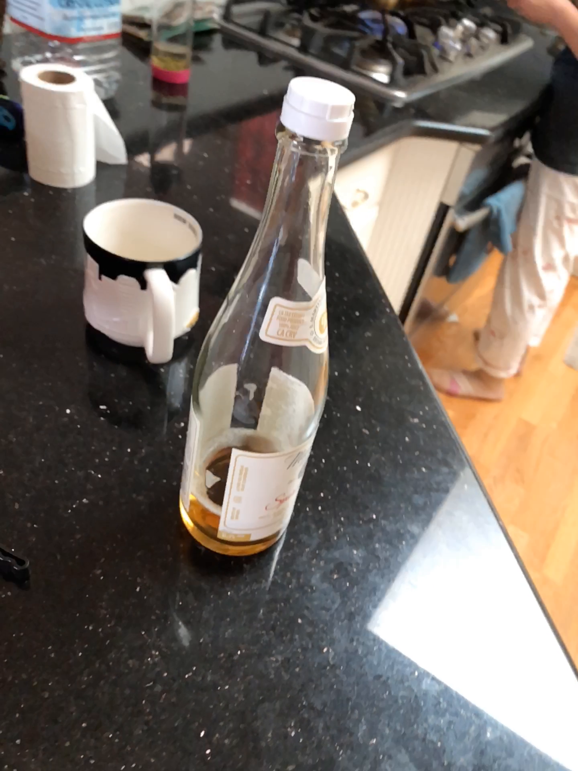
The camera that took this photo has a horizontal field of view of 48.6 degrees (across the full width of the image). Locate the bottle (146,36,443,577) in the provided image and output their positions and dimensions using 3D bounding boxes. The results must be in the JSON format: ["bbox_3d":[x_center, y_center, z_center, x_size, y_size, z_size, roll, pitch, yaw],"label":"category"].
[{"bbox_3d":[-0.012,-0.022,0.369,0.098,0.288,0.094,8,42,-7],"label":"bottle"}]
